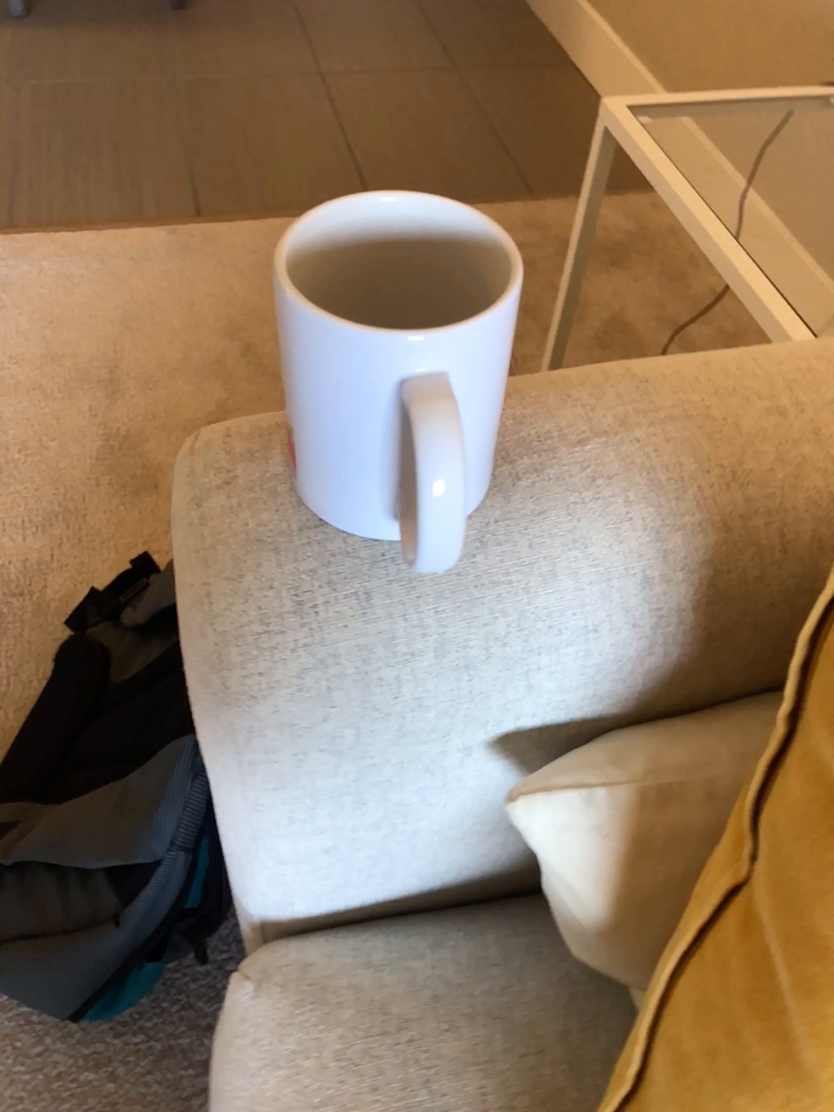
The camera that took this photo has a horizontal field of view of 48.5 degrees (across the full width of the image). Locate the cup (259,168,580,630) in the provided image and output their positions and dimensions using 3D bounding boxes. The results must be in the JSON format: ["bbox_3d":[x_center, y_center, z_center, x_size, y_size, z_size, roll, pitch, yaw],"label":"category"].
[{"bbox_3d":[-0.008,-0.056,0.320,0.080,0.100,0.120,-4,50,-9],"label":"cup"}]
